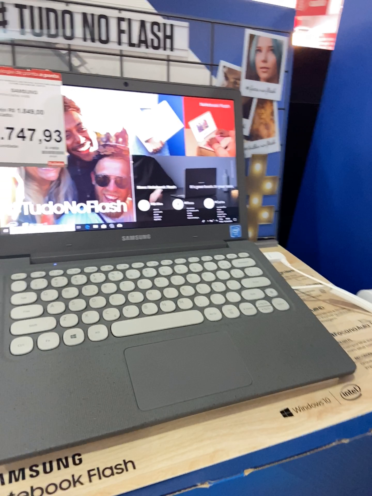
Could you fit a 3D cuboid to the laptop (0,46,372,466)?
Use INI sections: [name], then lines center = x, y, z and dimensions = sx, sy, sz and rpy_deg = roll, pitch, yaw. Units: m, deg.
[laptop]
center = -0.035, -0.055, 0.394
dimensions = 0.322, 0.181, 0.346
rpy_deg = -4, 35, -21
